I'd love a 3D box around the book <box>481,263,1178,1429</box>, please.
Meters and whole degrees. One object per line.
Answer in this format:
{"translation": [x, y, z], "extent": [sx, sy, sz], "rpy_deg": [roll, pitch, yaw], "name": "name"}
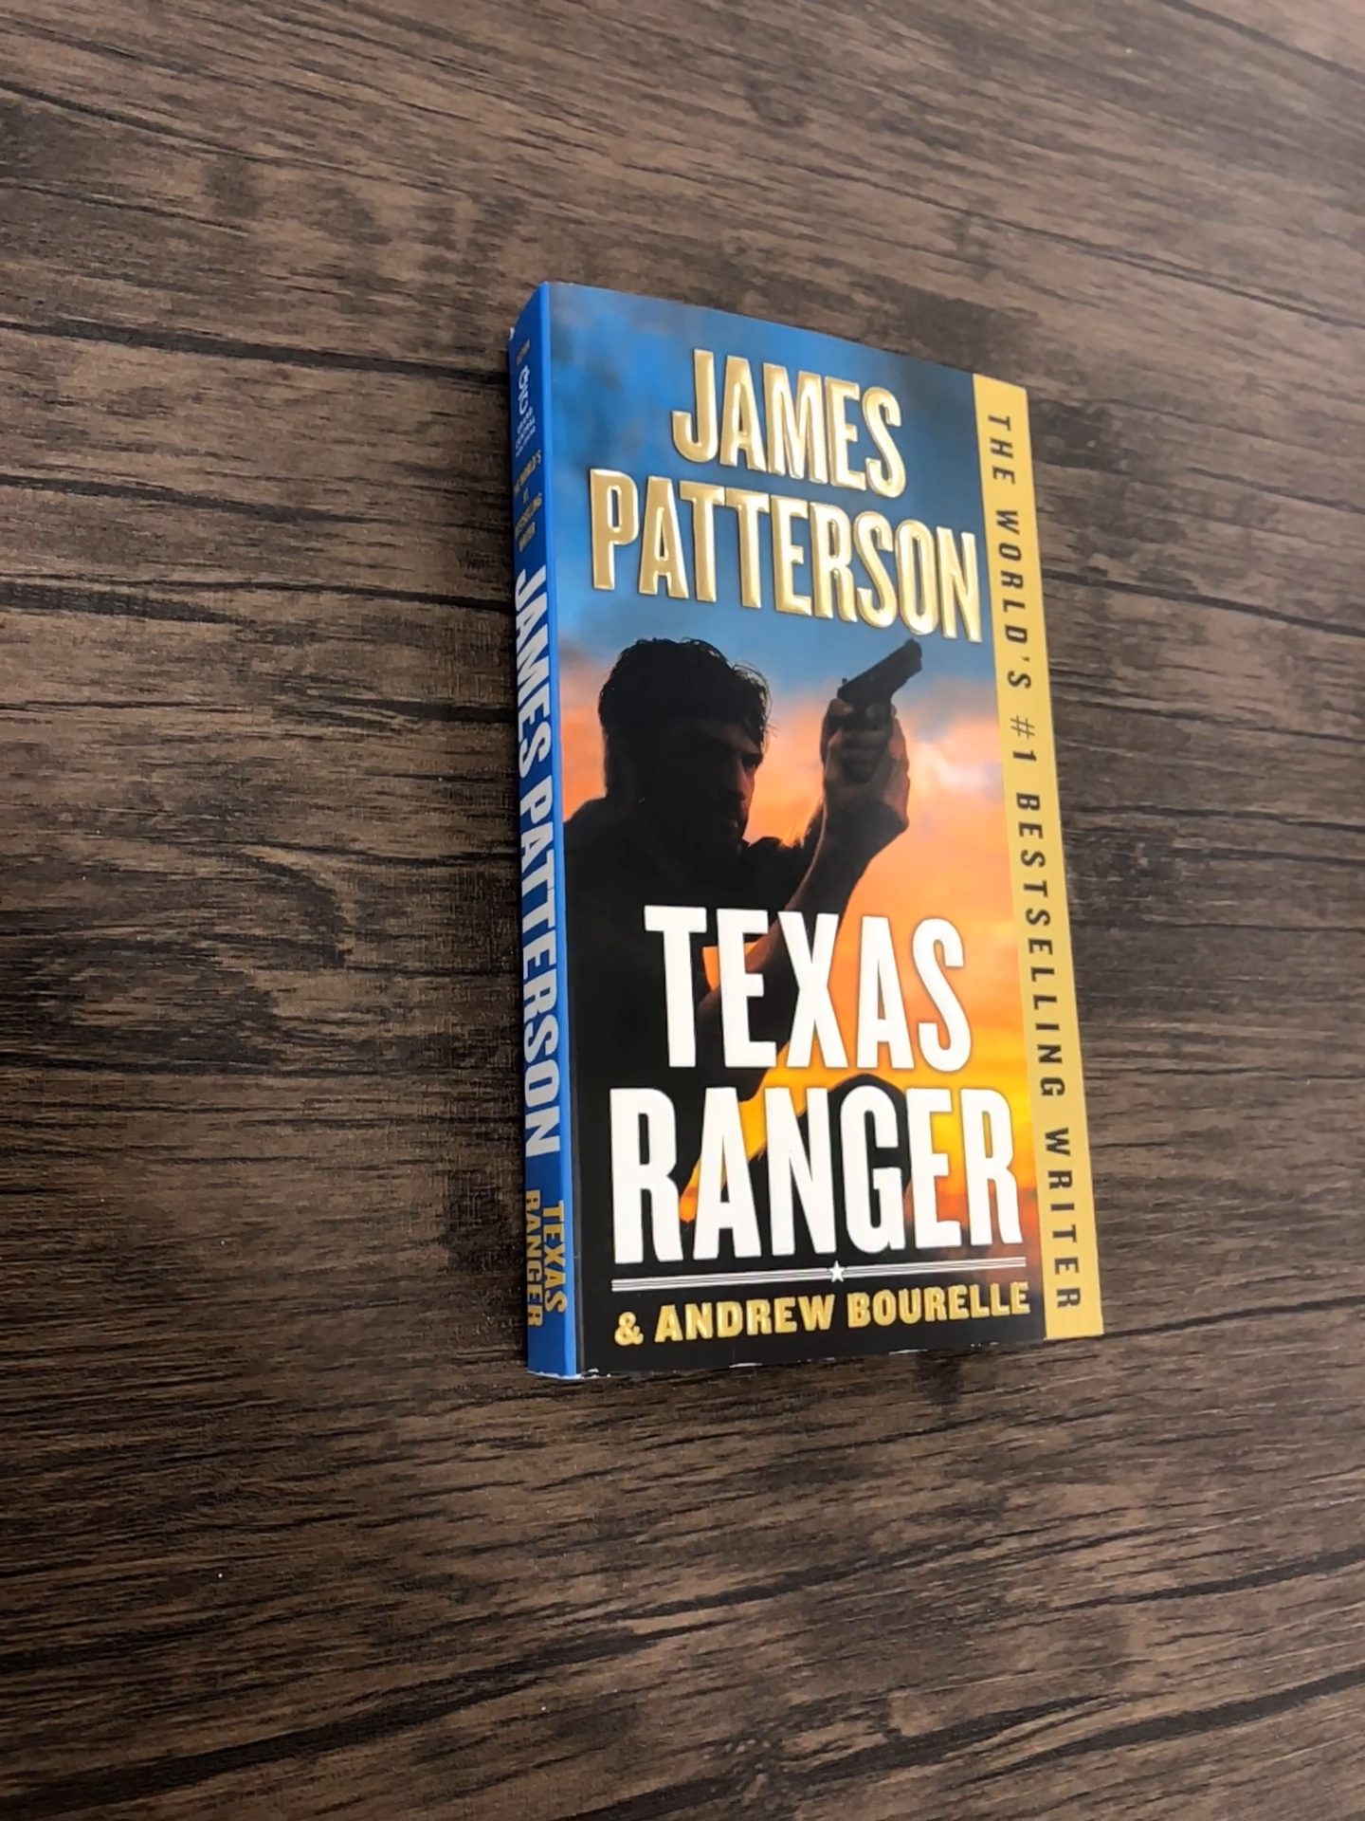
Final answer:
{"translation": [0.023, -0.010, 0.270], "extent": [0.107, 0.040, 0.180], "rpy_deg": [3, 77, -26], "name": "book"}
